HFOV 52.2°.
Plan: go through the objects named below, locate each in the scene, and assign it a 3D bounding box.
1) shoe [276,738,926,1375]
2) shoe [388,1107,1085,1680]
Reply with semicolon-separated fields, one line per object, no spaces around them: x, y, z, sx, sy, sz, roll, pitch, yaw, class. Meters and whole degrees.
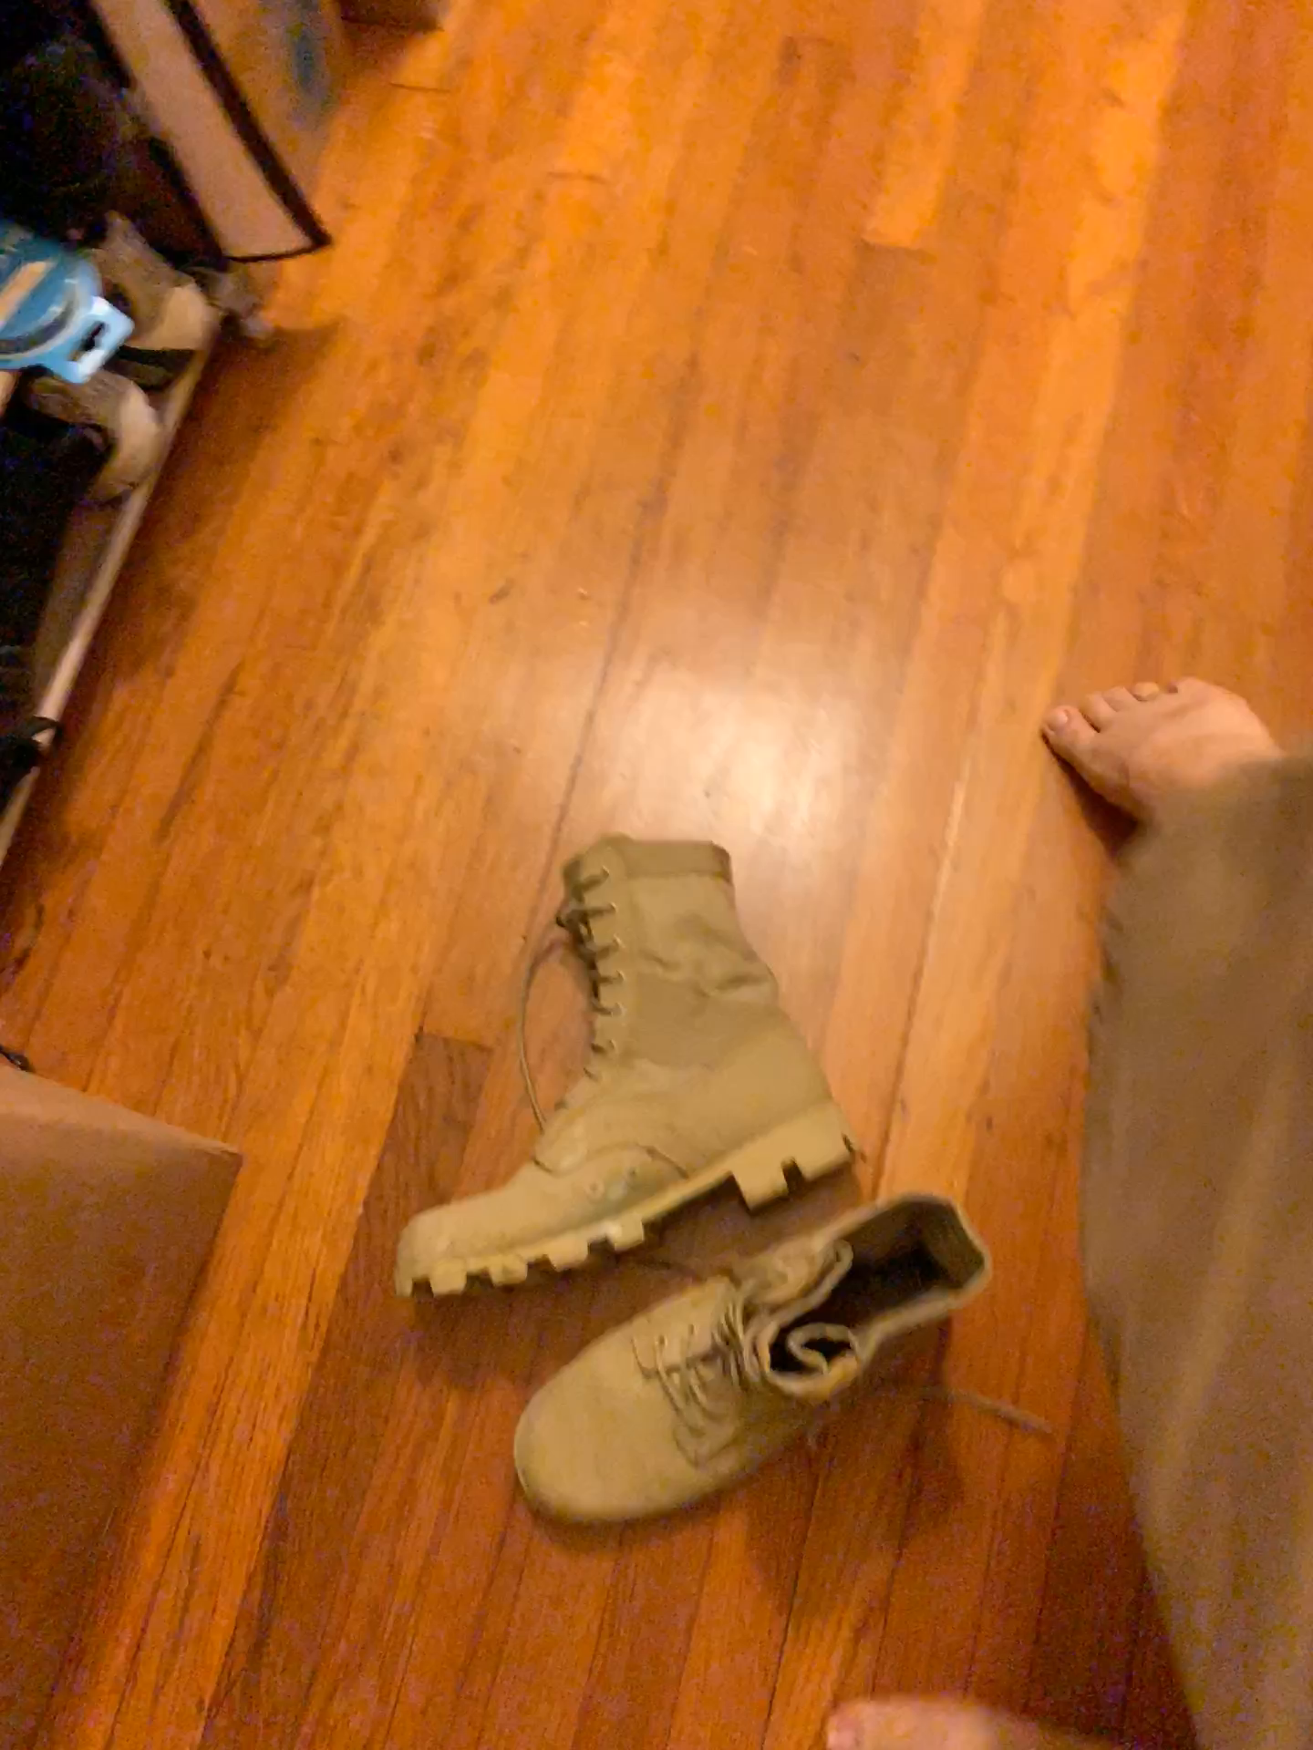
-0.035;0.107;0.807;0.290;0.110;0.260;-26;66;-4;shoe
0.041;0.256;0.696;0.290;0.200;0.120;-28;73;-4;shoe
